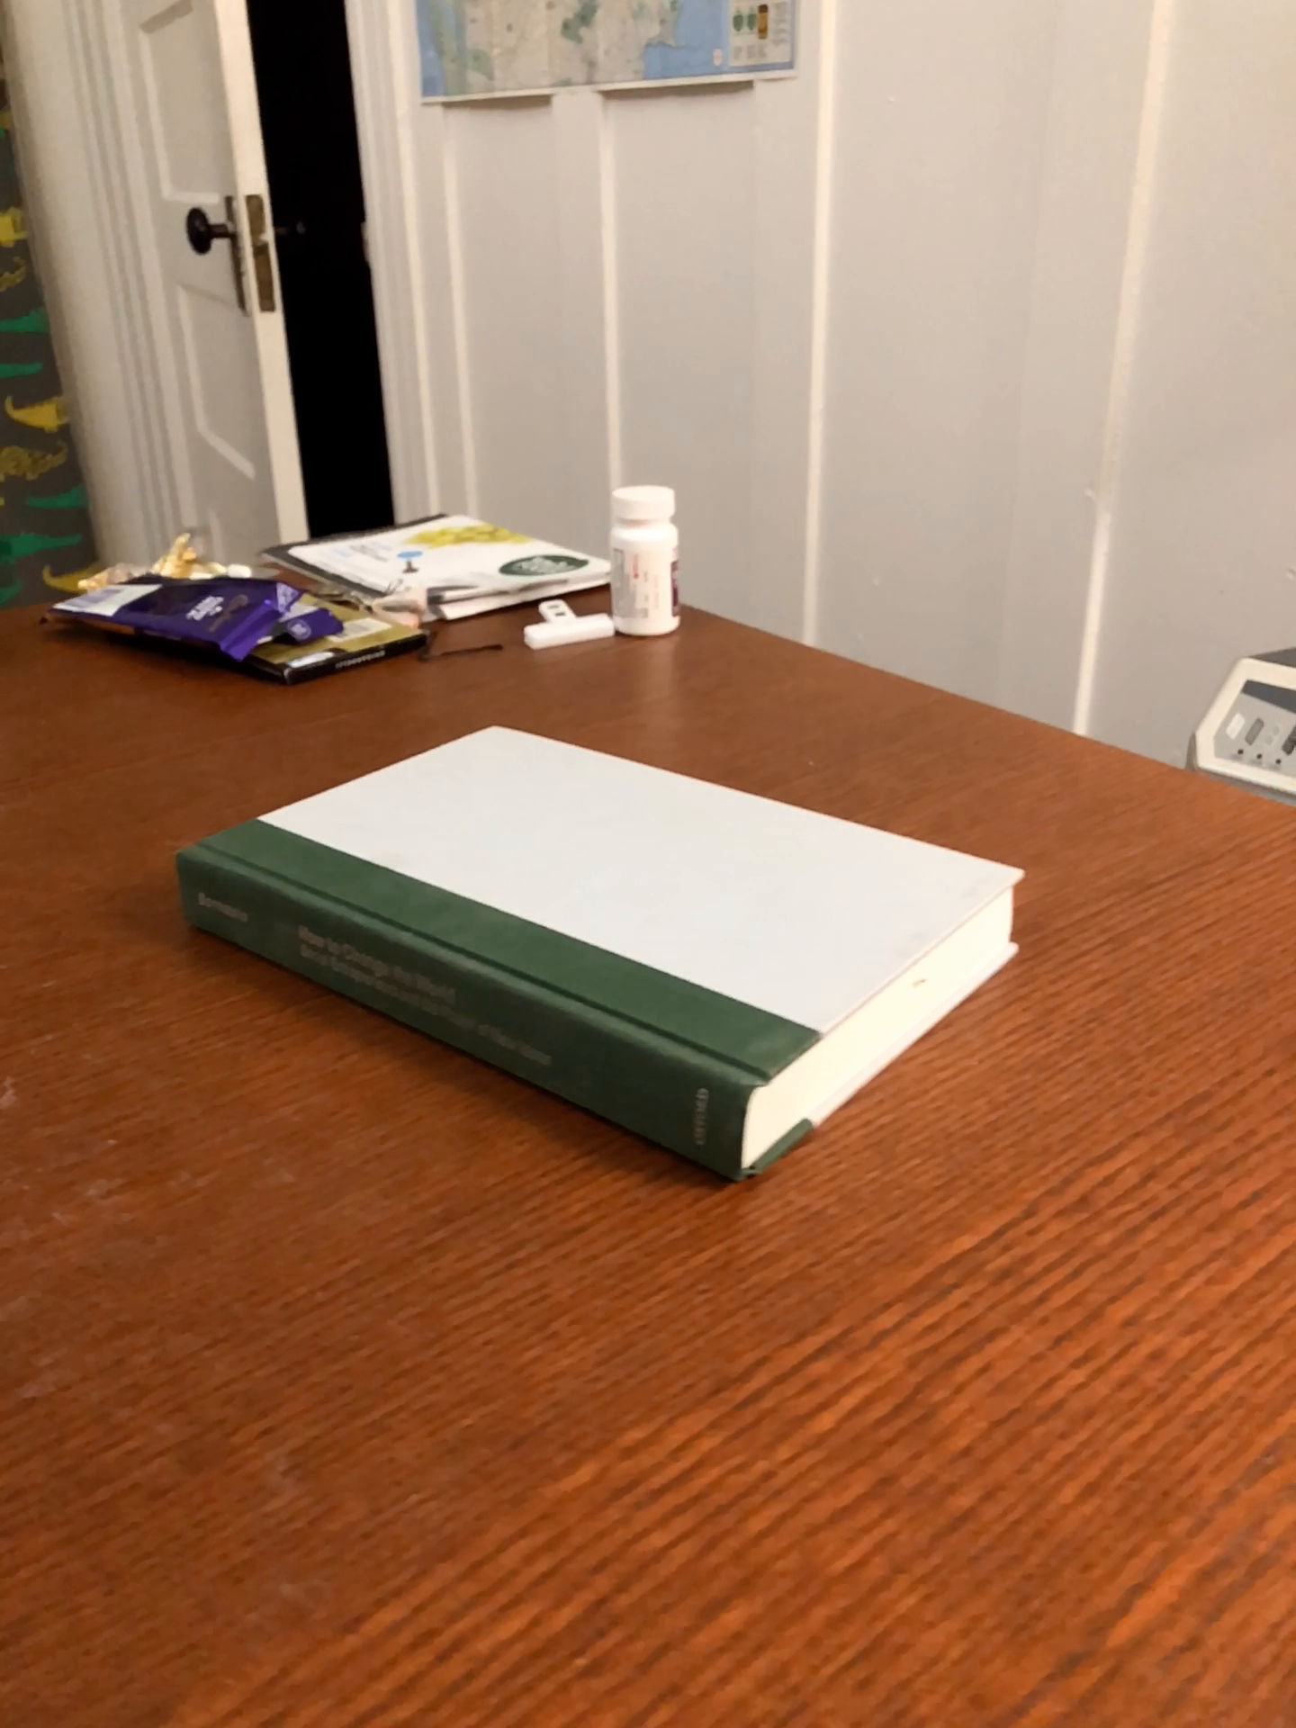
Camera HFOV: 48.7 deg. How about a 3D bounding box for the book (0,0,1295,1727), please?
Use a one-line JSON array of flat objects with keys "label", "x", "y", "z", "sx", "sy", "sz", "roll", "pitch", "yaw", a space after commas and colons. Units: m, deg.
[{"label": "book", "x": 0.221, "y": -0.271, "z": 0.195, "sx": 1.000, "sy": 0.995, "sz": 1.005, "roll": 7, "pitch": 27, "yaw": 18}]
